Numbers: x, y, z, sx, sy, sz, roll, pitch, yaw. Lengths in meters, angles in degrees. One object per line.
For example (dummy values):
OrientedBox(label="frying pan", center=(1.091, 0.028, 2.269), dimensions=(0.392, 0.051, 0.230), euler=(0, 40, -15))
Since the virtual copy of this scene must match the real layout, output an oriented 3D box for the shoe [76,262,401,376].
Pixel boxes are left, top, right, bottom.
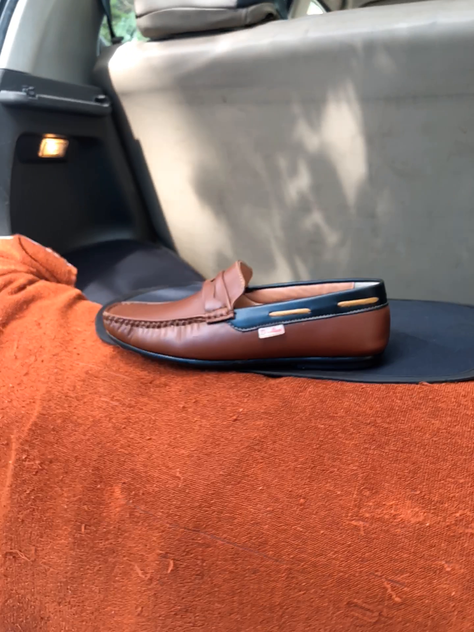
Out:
OrientedBox(label="shoe", center=(0.005, 0.000, 0.512), dimensions=(0.280, 0.070, 0.110), euler=(-2, 16, 8))
